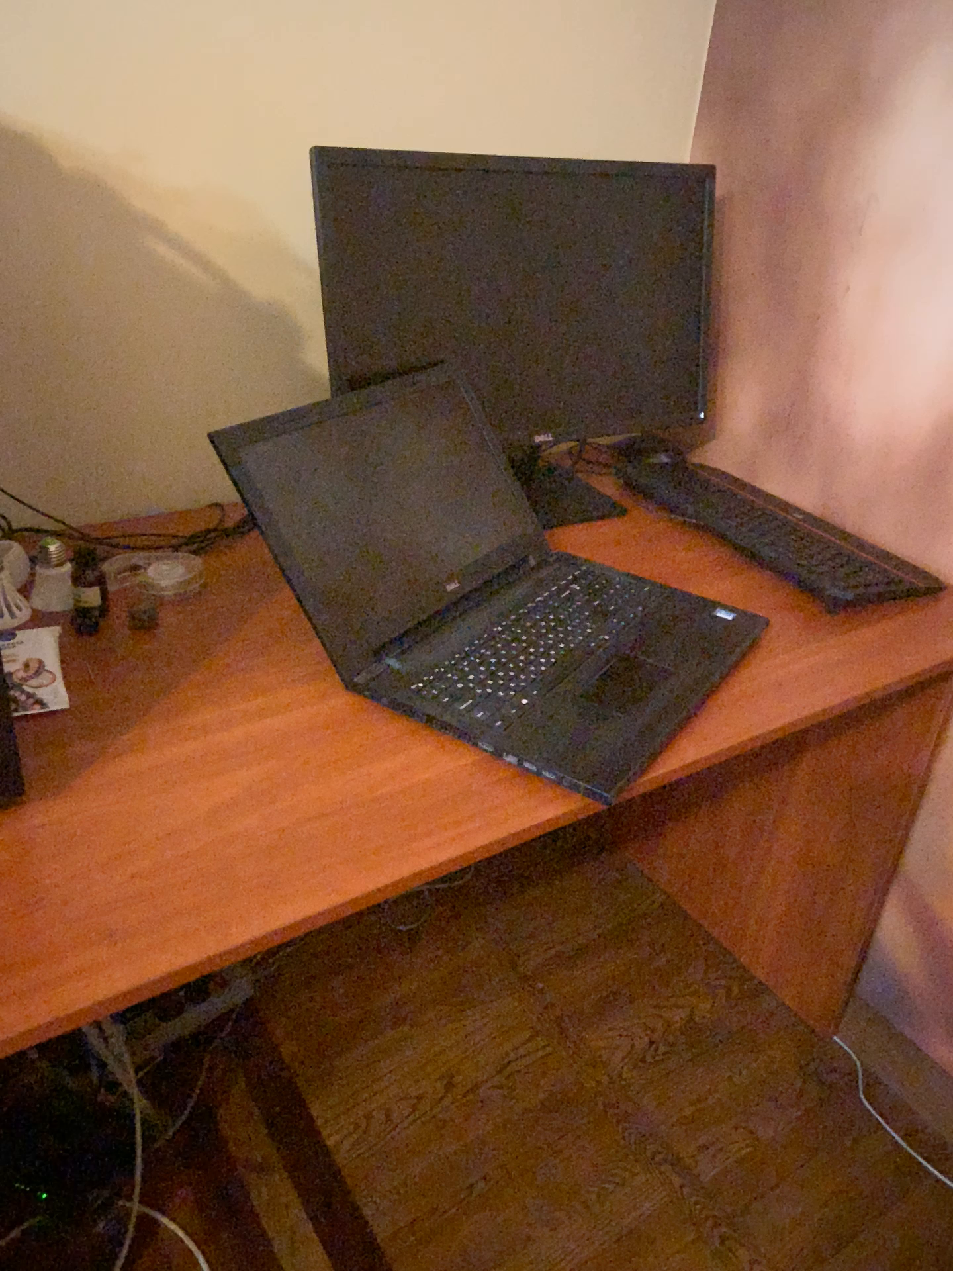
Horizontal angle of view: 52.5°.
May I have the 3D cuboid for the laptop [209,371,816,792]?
[{"bbox_3d":[0.038,-0.088,0.877,0.392,0.181,0.357,20,32,28],"label":"laptop"}]
